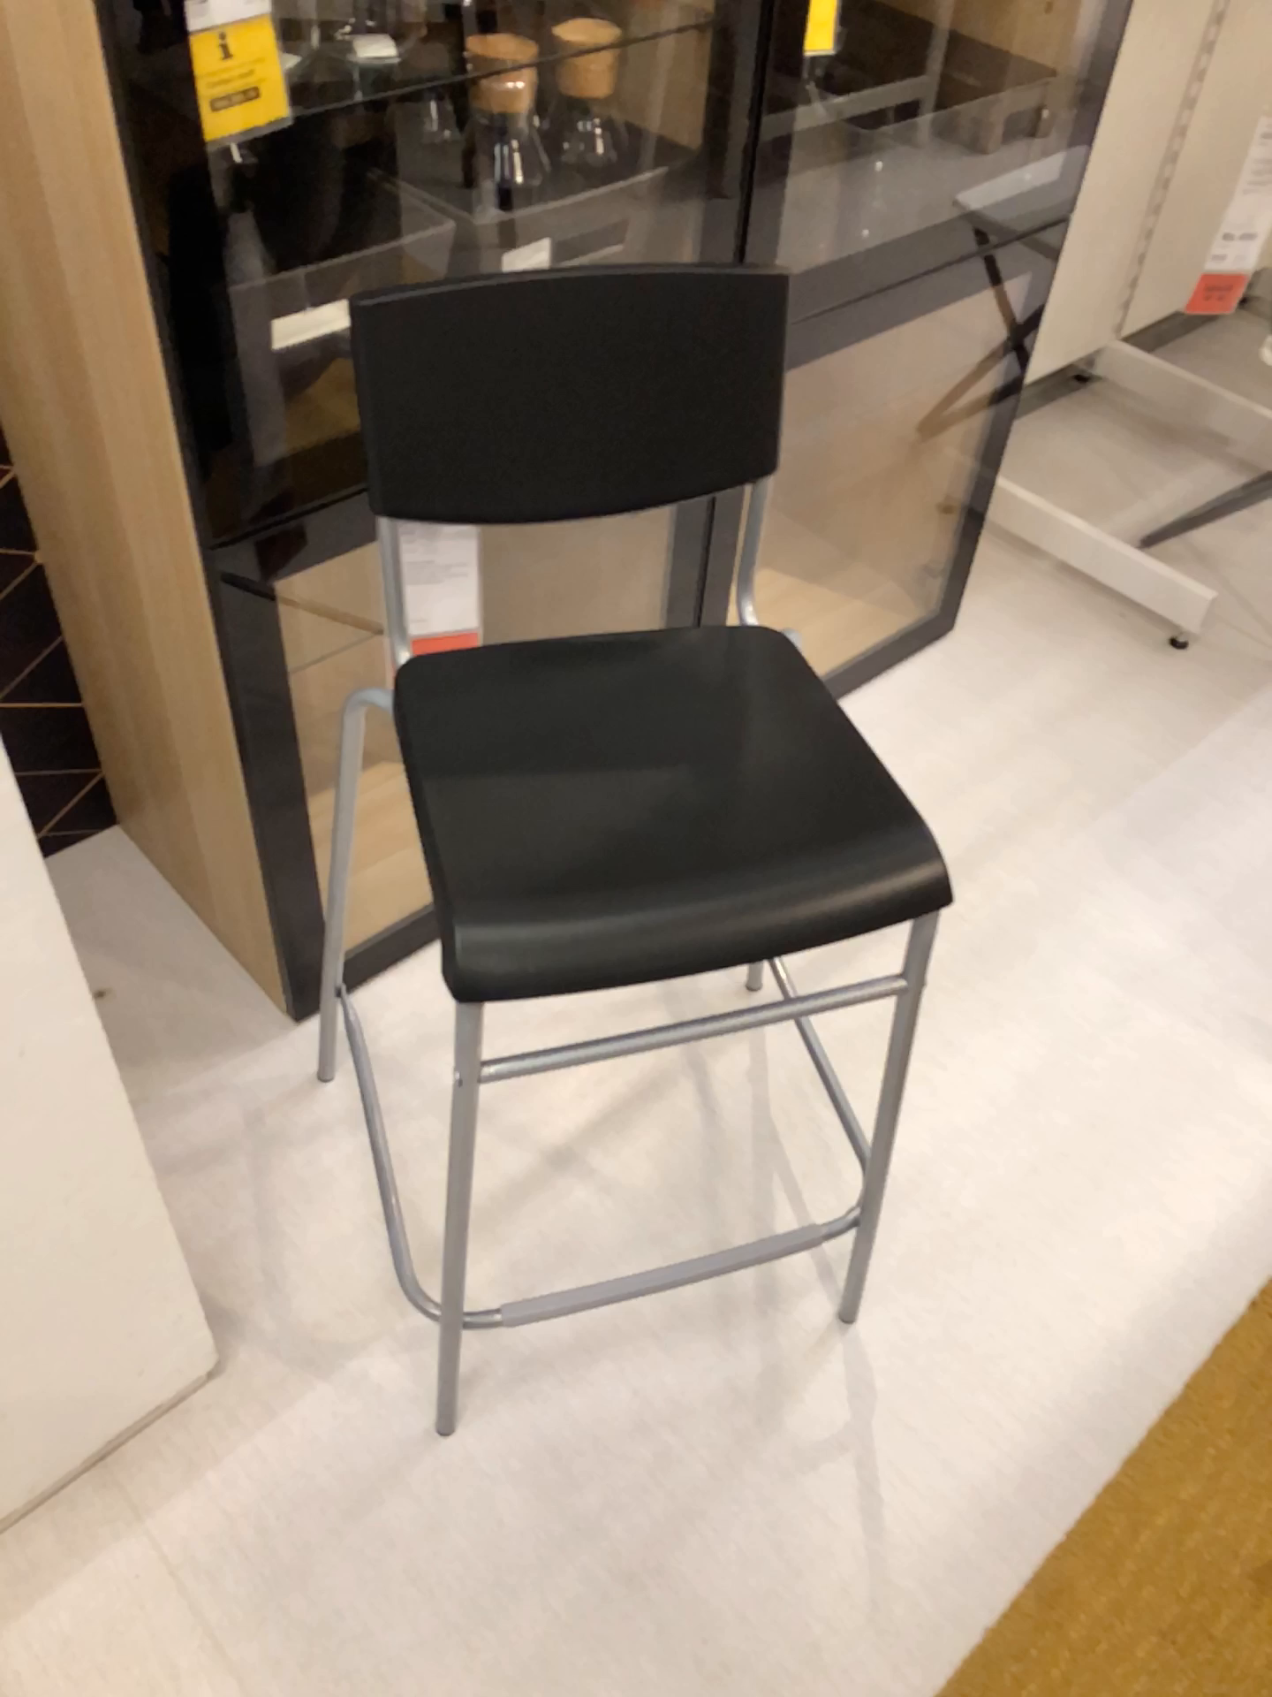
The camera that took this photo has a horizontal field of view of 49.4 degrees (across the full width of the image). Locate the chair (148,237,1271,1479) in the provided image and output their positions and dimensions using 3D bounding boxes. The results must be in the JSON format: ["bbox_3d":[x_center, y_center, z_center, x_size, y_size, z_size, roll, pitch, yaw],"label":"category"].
[{"bbox_3d":[-0.011,0.031,1.064,0.540,0.765,0.483,-9,48,-14],"label":"chair"}]
